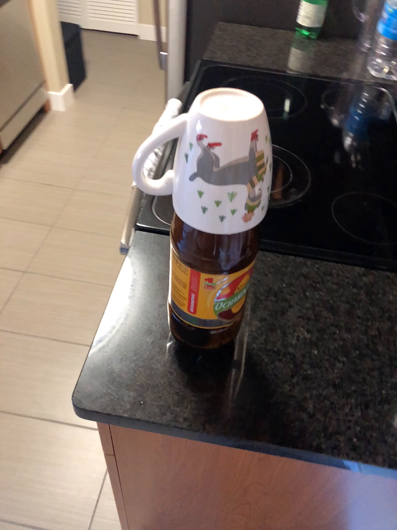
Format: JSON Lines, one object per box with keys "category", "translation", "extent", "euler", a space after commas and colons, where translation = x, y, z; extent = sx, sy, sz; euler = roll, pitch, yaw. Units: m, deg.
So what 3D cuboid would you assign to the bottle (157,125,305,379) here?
{"category": "bottle", "translation": [0.022, 0.000, 0.516], "extent": [0.100, 0.279, 0.100], "euler": [3, 46, -3]}
